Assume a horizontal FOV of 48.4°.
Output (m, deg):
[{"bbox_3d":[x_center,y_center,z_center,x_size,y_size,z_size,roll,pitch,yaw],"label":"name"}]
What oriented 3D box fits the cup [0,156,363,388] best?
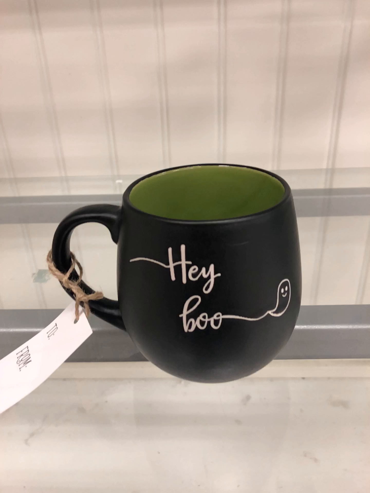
[{"bbox_3d":[-0.002,0.009,0.224,0.149,0.089,0.091,-1,27,3],"label":"cup"}]
